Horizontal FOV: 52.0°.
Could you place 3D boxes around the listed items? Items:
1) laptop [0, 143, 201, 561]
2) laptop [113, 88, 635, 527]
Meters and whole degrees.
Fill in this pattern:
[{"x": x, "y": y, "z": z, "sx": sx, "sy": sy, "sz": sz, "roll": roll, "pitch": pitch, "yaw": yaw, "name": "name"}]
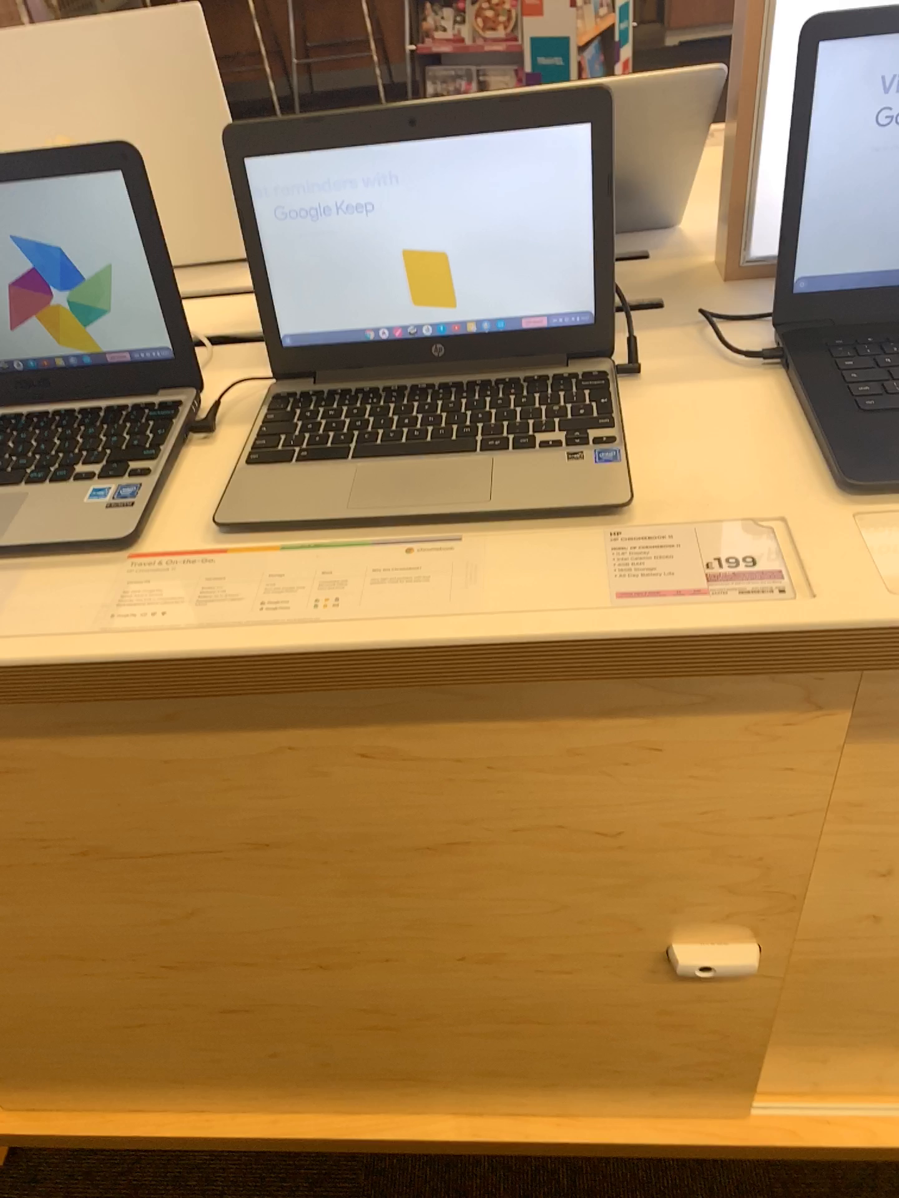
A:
[{"x": -0.366, "y": -0.178, "z": 0.655, "sx": 0.286, "sy": 0.180, "sz": 0.223, "roll": -3, "pitch": 42, "yaw": 6, "name": "laptop"}, {"x": -0.026, "y": -0.200, "z": 0.625, "sx": 0.277, "sy": 0.185, "sz": 0.230, "roll": -3, "pitch": 41, "yaw": 7, "name": "laptop"}]
